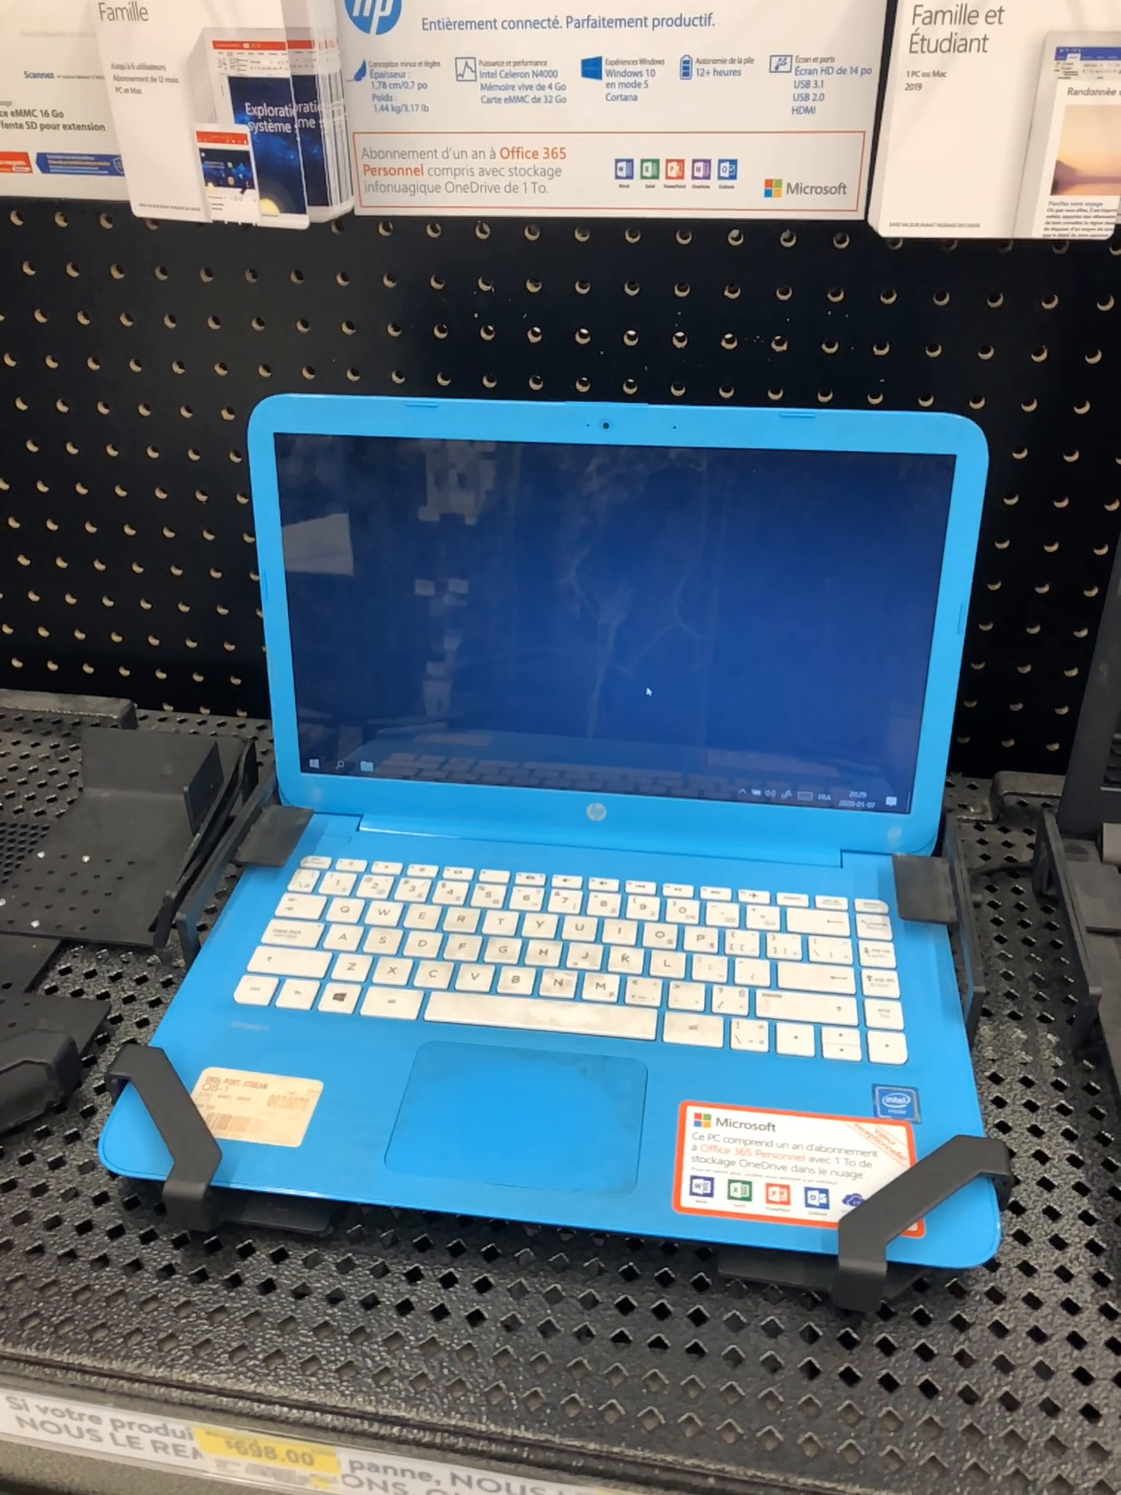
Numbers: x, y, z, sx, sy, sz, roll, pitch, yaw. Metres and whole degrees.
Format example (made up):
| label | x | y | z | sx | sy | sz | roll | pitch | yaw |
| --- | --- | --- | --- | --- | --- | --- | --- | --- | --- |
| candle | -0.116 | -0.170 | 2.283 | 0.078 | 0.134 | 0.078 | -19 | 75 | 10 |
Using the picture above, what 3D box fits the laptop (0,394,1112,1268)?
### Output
| label | x | y | z | sx | sy | sz | roll | pitch | yaw |
| --- | --- | --- | --- | --- | --- | --- | --- | --- | --- |
| laptop | 0.002 | 0.005 | 0.499 | 0.319 | 0.197 | 0.270 | 3 | 35 | 8 |
